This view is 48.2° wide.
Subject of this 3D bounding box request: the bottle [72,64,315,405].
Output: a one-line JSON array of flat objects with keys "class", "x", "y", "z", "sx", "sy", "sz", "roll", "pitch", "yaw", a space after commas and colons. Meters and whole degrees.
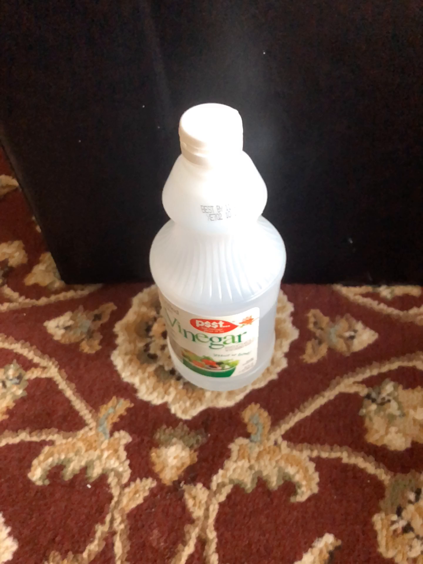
[{"class": "bottle", "x": 0.001, "y": -0.013, "z": 0.318, "sx": 0.100, "sy": 0.220, "sz": 0.090, "roll": 9, "pitch": 54, "yaw": 10}]
